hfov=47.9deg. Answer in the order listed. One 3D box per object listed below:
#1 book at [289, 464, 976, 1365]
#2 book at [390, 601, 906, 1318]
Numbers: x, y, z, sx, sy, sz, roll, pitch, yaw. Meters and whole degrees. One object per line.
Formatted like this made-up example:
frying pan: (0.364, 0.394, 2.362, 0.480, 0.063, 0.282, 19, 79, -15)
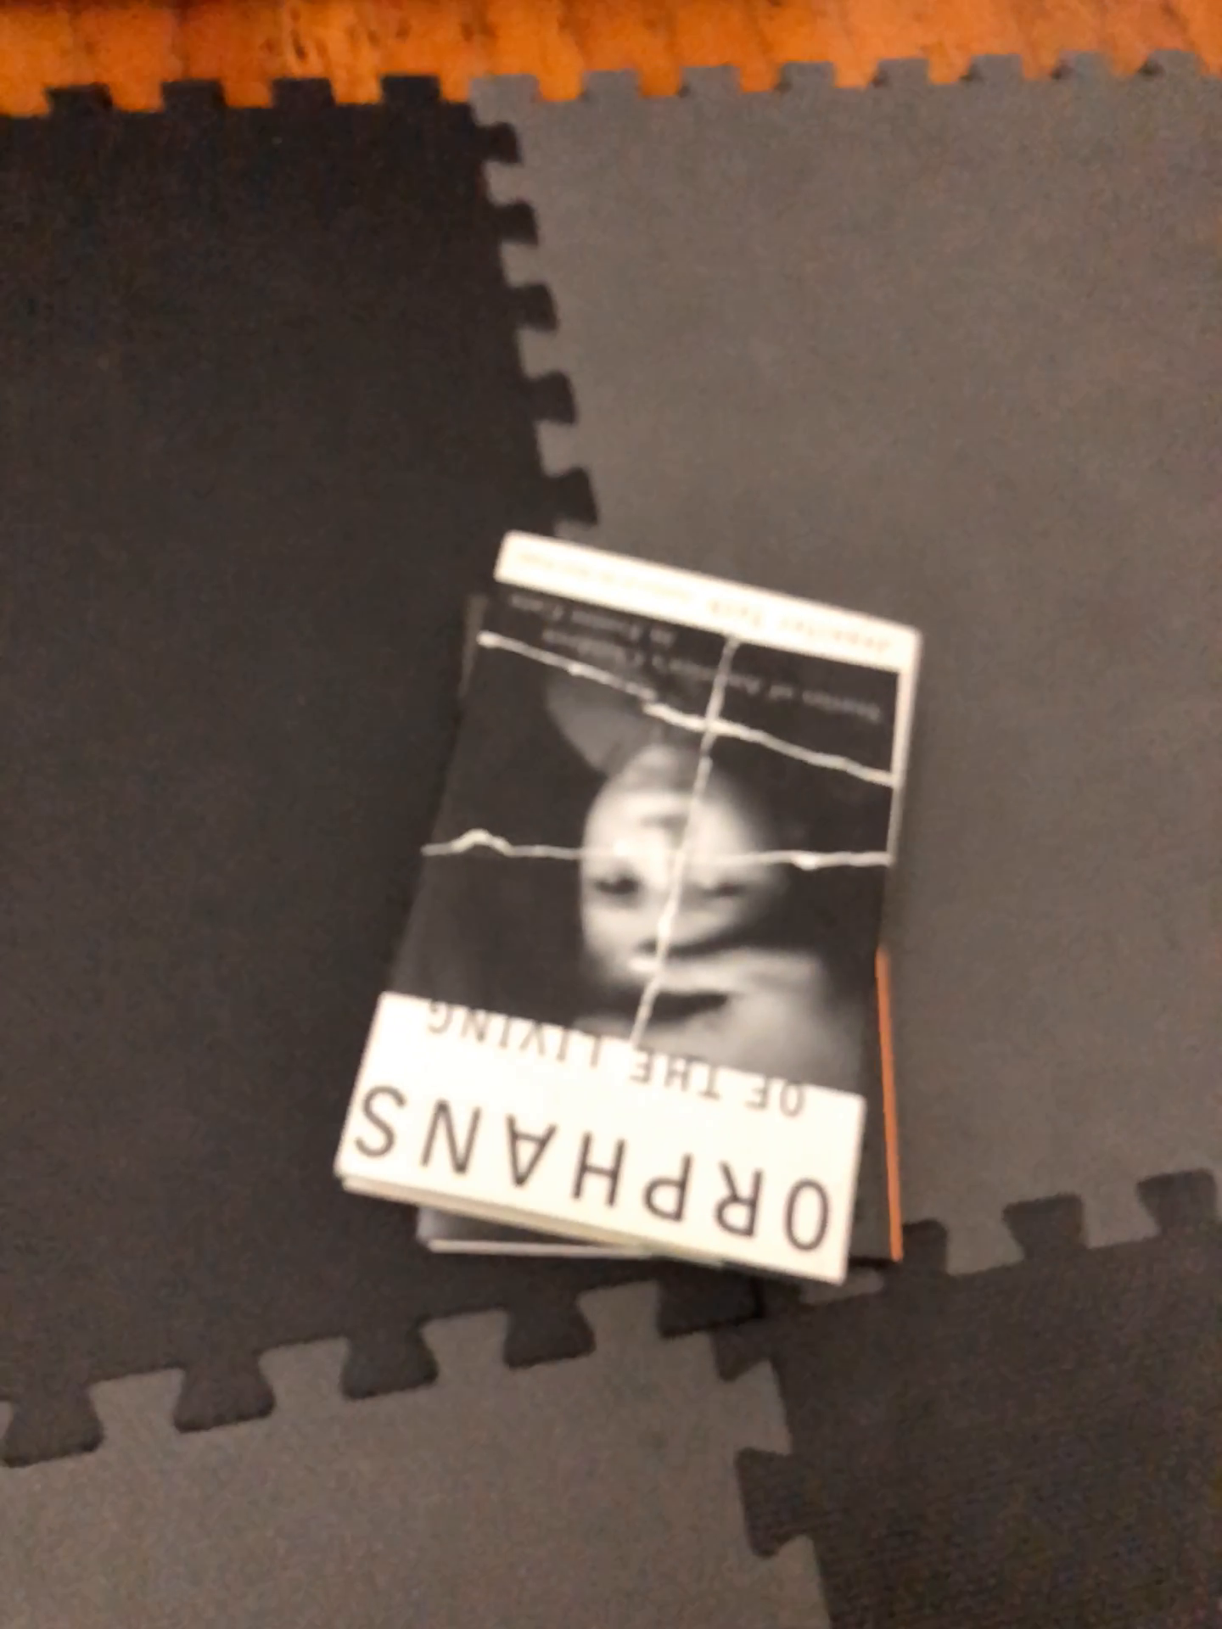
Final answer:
book: (0.020, 0.020, 0.467, 0.180, 0.030, 0.281, 12, 66, -1)
book: (0.012, 0.044, 0.488, 0.160, 0.030, 0.251, 3, 66, -5)
